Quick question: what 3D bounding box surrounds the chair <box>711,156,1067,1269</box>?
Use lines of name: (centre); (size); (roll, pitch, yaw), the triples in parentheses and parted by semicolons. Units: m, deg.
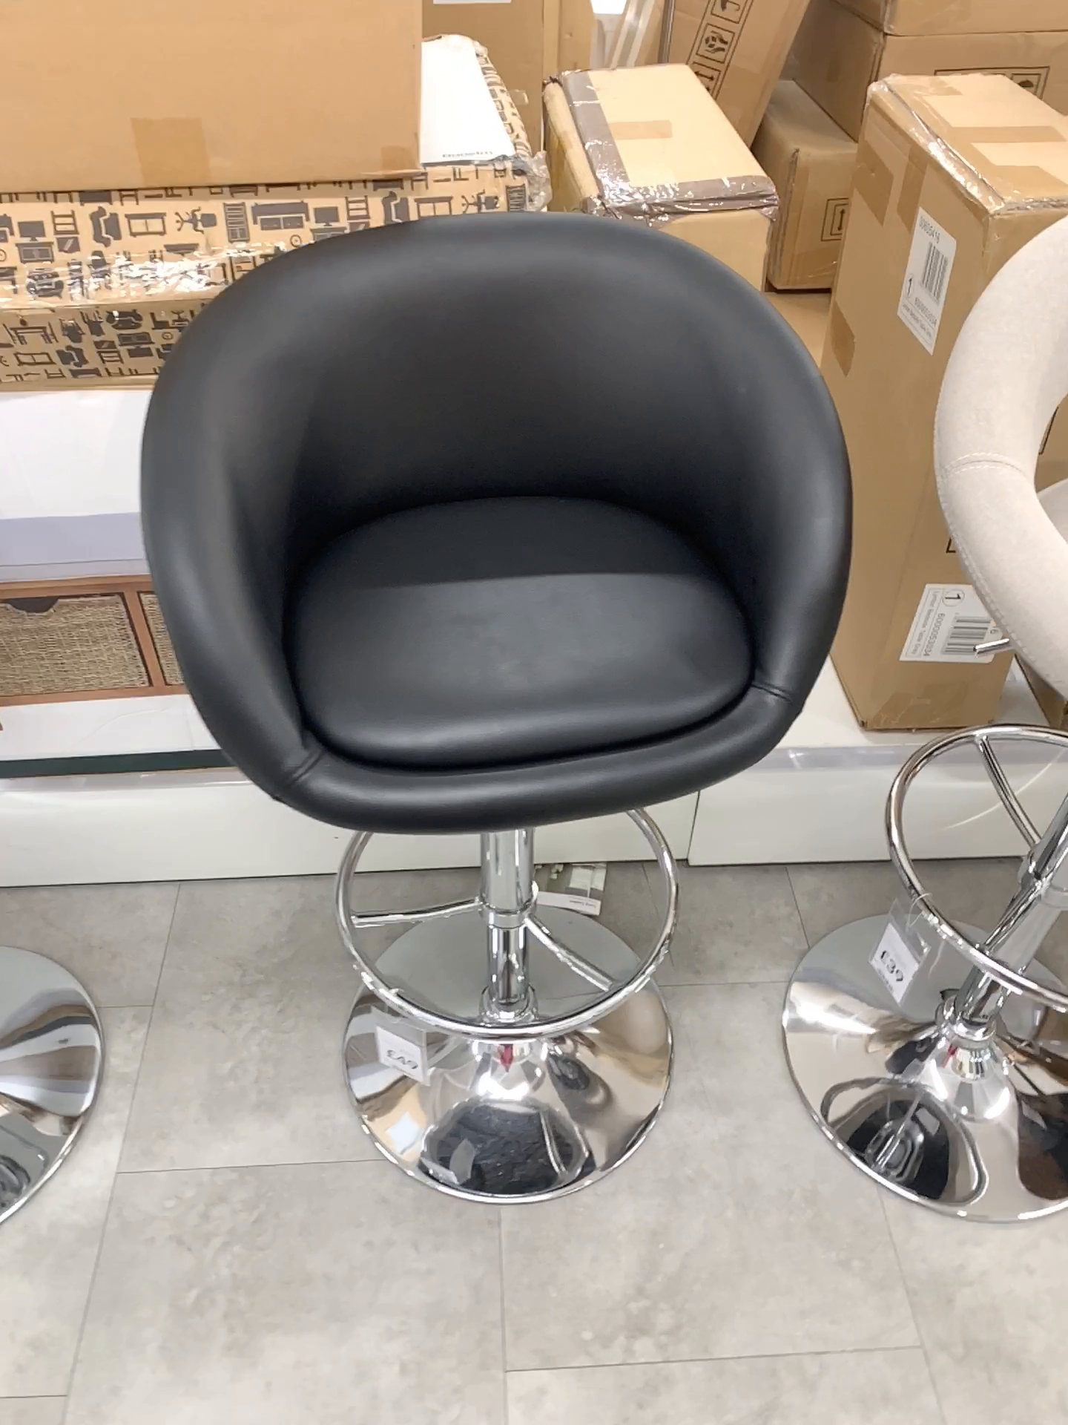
chair: (0.501, 0.065, 0.992); (0.444, 0.918, 0.434); (-7, 44, -9)

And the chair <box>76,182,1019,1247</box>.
chair: (-0.022, 0.056, 0.997); (0.474, 0.868, 0.444); (-5, 44, -7)

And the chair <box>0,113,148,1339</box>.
chair: (-0.676, 0.086, 0.923); (0.444, 0.948, 0.444); (-7, 44, -9)
